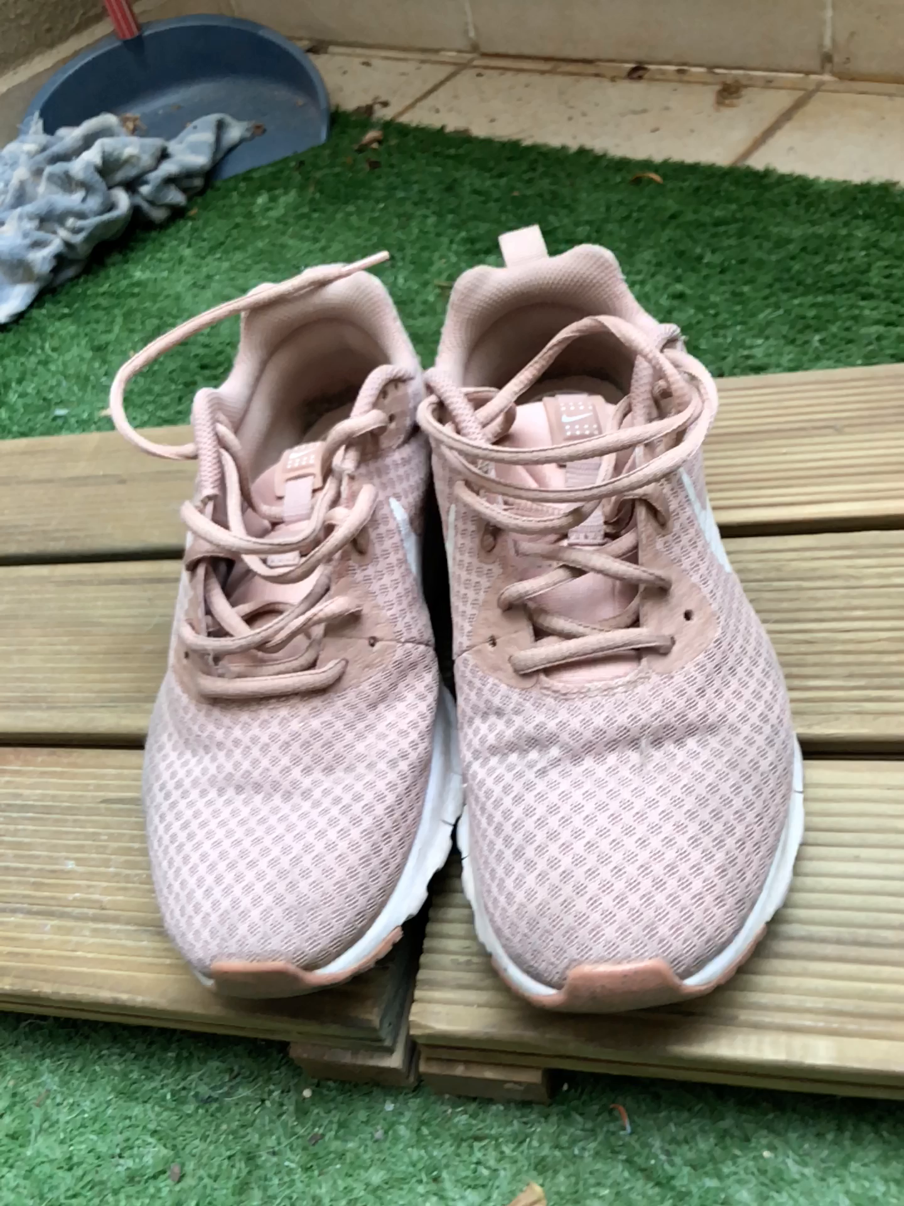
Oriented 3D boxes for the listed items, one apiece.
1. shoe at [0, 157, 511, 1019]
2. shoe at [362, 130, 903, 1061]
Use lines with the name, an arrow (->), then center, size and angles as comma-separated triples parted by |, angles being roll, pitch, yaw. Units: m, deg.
shoe -> -0.046, -0.023, 0.311 | 0.110, 0.089, 0.262 | -8, 47, 12
shoe -> 0.050, -0.023, 0.290 | 0.110, 0.089, 0.262 | -9, 47, 11
